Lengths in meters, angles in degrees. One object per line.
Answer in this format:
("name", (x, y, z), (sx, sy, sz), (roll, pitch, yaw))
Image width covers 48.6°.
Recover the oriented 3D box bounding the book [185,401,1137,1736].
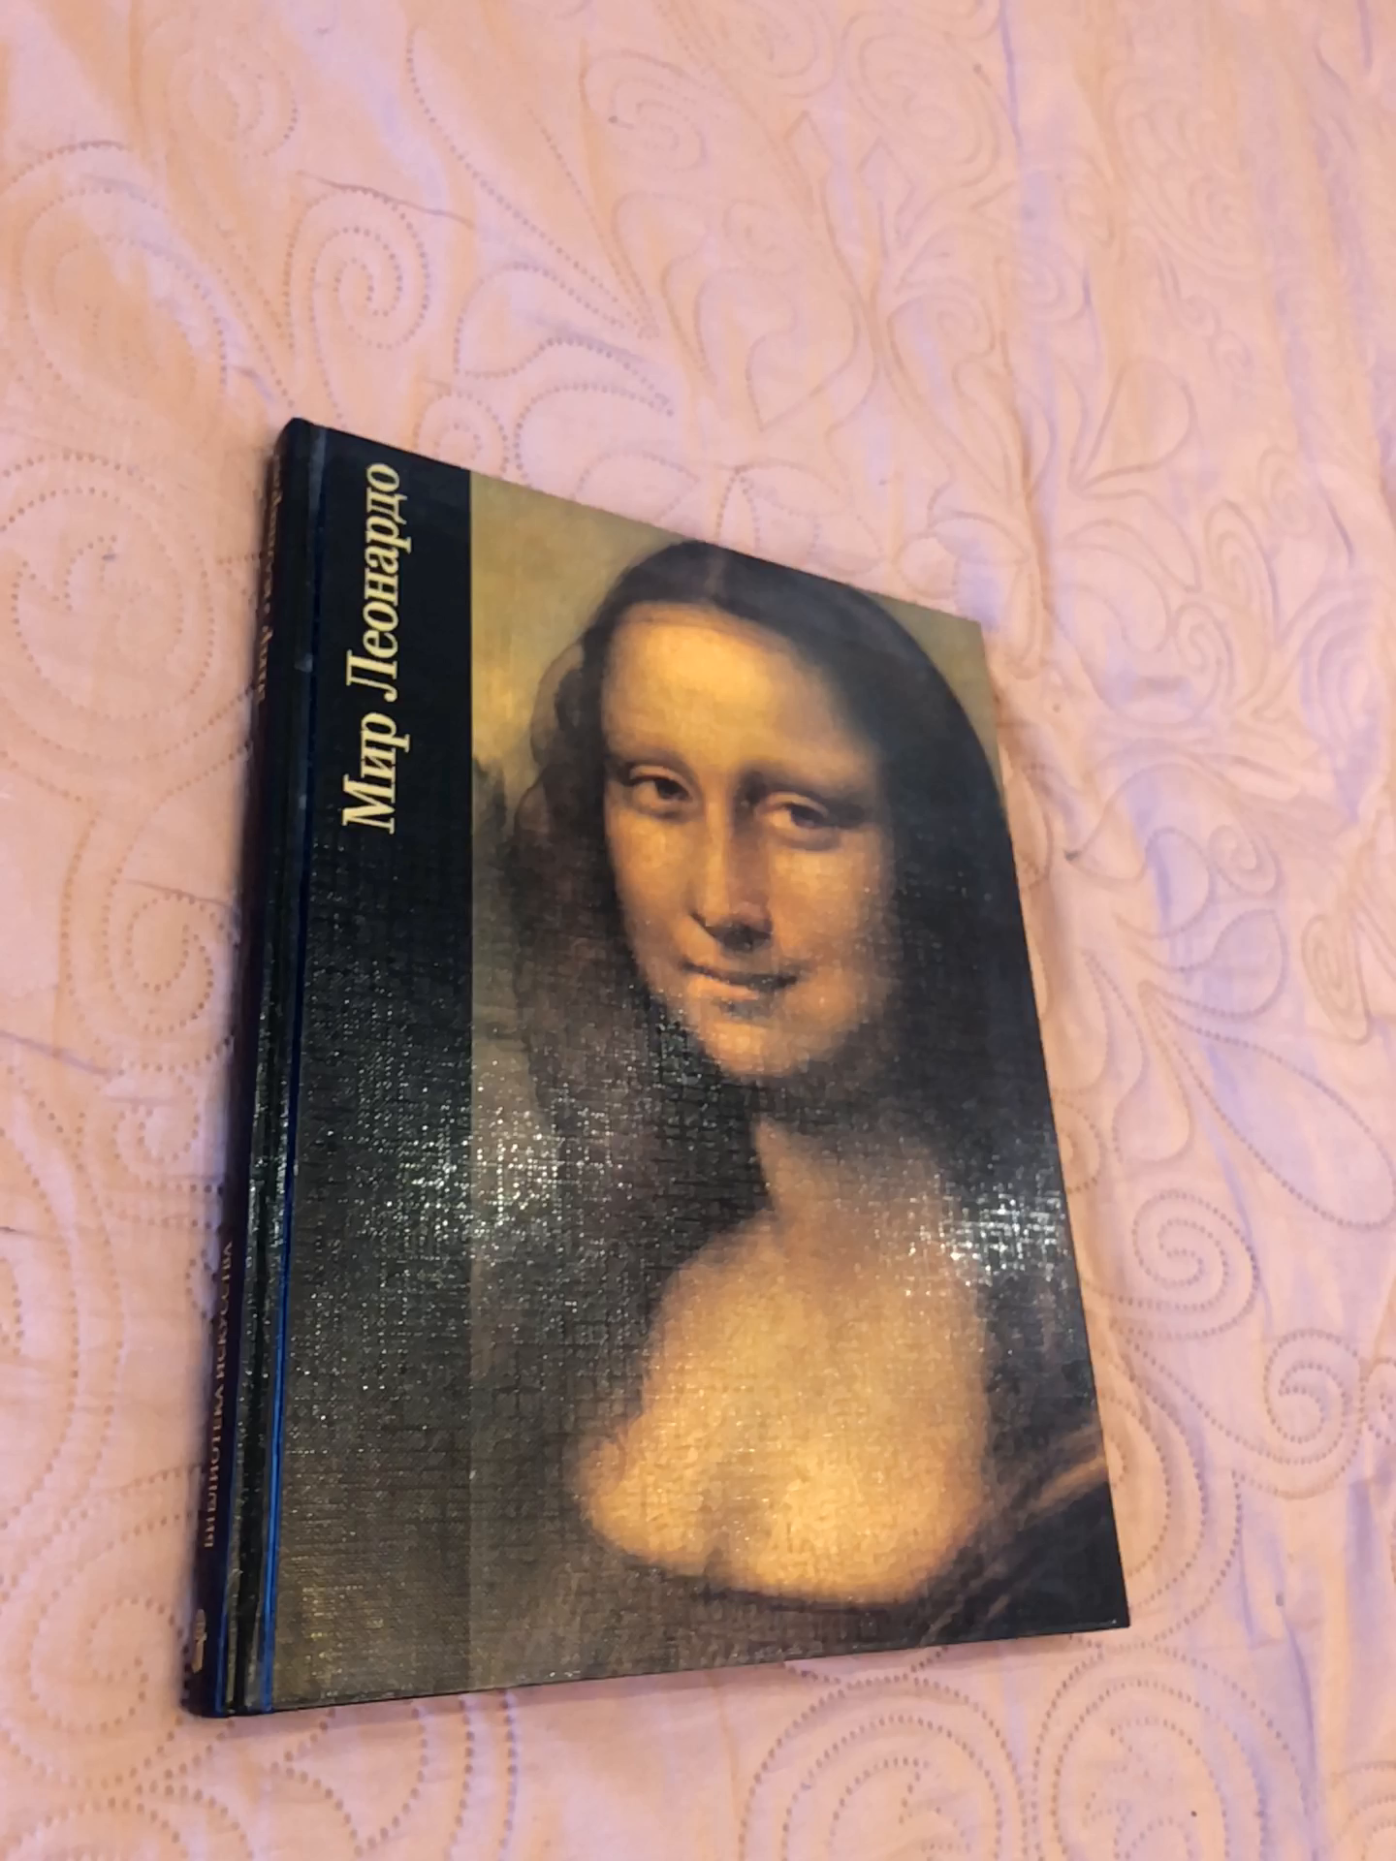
("book", (-0.002, 0.026, 0.370), (0.211, 0.030, 0.273), (9, 66, -29))
